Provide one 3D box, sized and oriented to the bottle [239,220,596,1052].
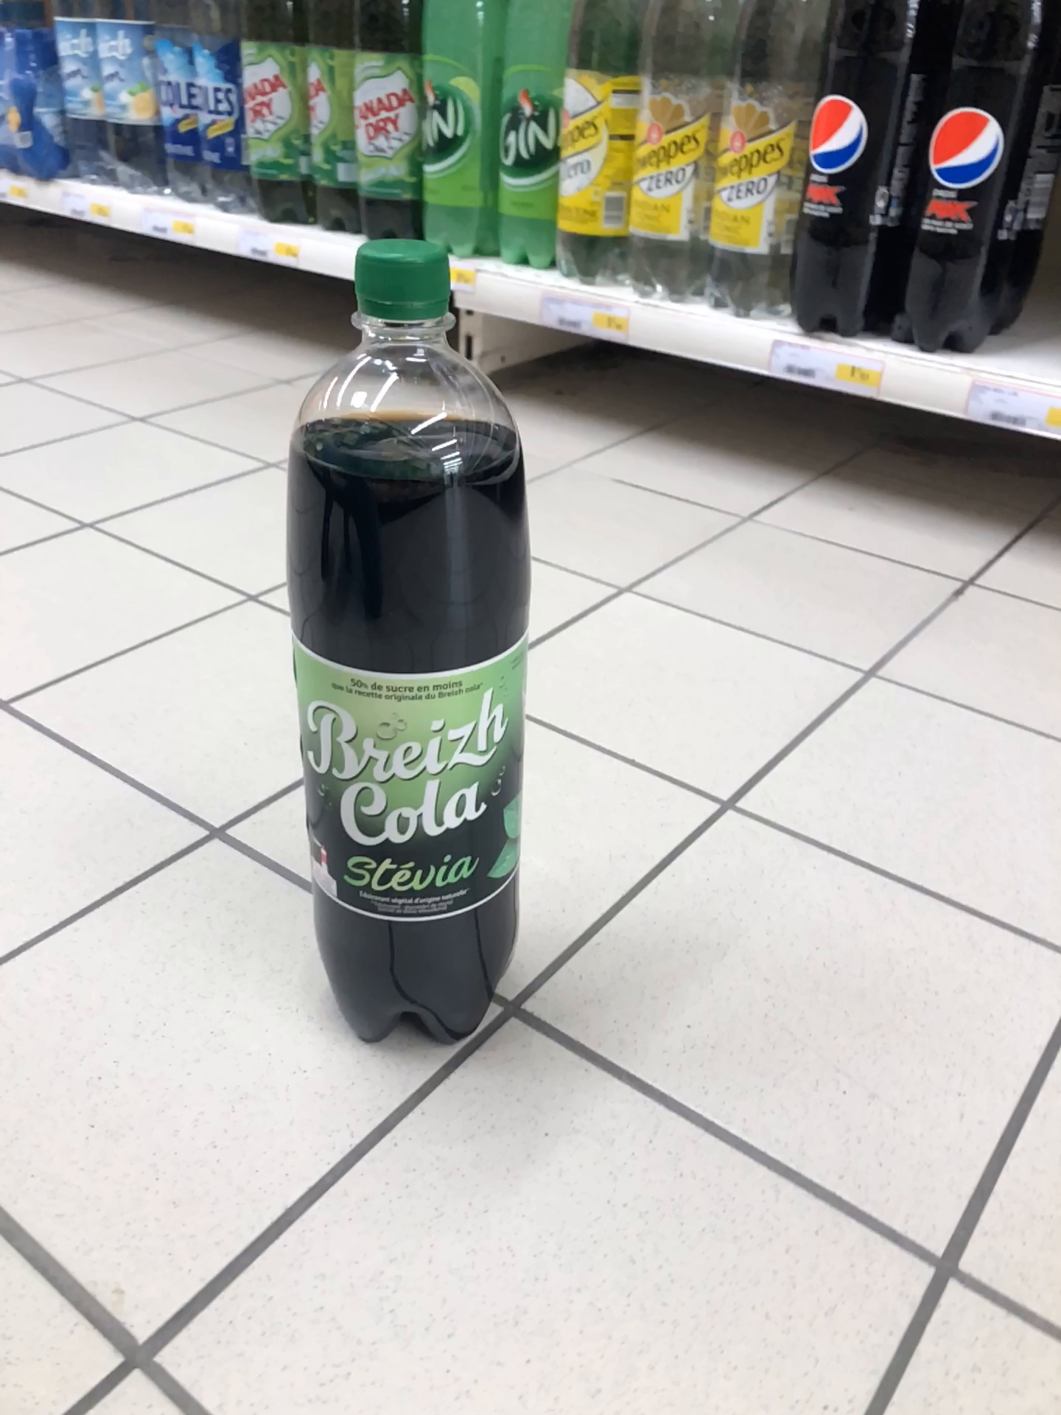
[{"bbox_3d":[-0.043,-0.017,0.446,0.100,0.298,0.101,2,30,-1],"label":"bottle"}]
